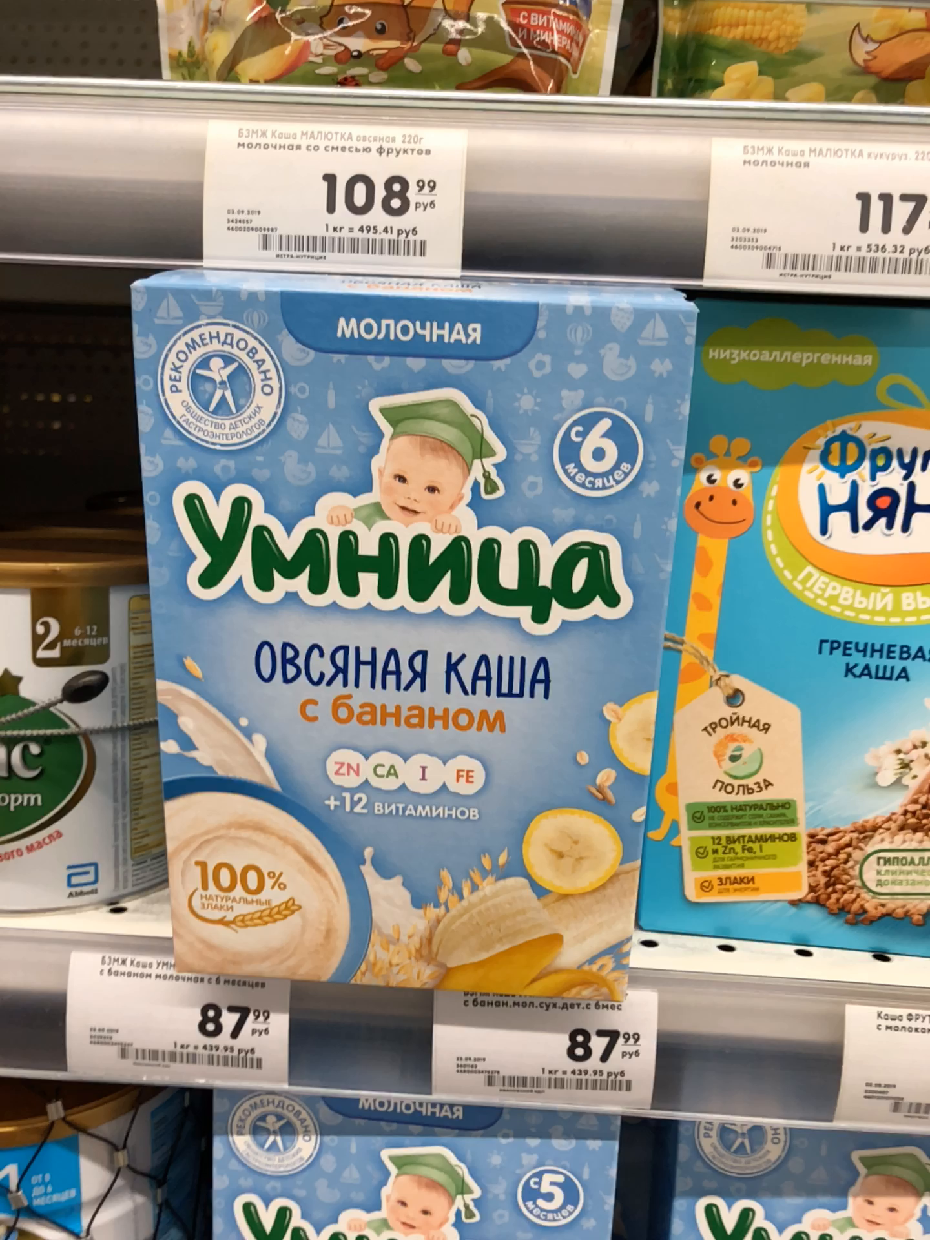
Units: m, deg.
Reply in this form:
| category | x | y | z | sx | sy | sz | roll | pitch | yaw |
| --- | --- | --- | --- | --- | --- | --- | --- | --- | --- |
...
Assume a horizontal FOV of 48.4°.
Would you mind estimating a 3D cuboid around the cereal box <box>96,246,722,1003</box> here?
| category | x | y | z | sx | sy | sz | roll | pitch | yaw |
| --- | --- | --- | --- | --- | --- | --- | --- | --- | --- |
| cereal box | -0.015 | 0.002 | 0.308 | 0.150 | 0.209 | 0.060 | 2 | 18 | 3 |
